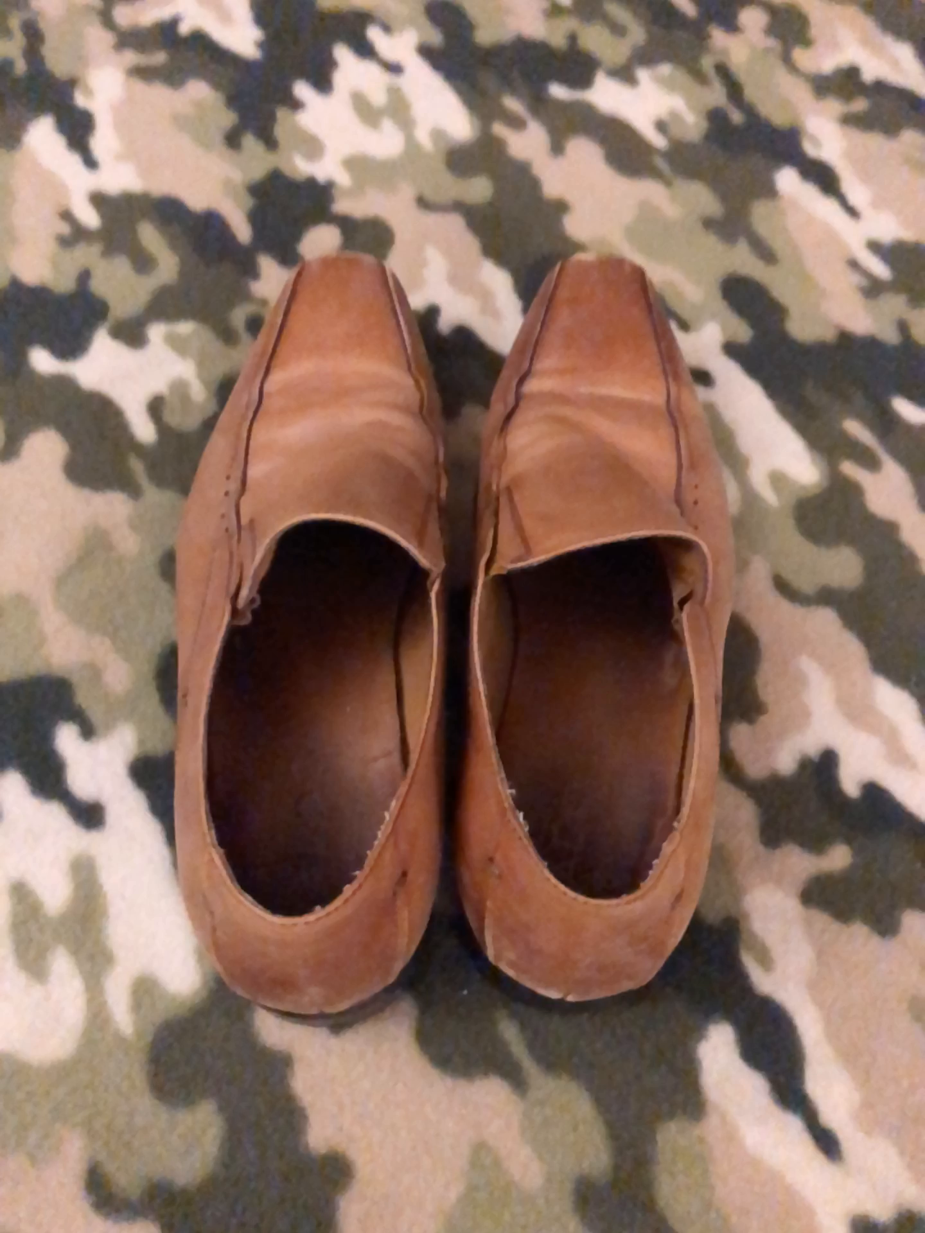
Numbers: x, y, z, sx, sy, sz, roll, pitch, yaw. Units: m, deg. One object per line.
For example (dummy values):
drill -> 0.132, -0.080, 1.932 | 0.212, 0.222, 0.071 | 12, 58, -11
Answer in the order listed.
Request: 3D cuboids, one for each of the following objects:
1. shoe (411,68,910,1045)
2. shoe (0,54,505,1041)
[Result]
shoe -> 0.054, -0.035, 0.358 | 0.110, 0.119, 0.321 | 5, 60, 0
shoe -> -0.052, -0.037, 0.348 | 0.110, 0.119, 0.321 | 1, 60, -3
